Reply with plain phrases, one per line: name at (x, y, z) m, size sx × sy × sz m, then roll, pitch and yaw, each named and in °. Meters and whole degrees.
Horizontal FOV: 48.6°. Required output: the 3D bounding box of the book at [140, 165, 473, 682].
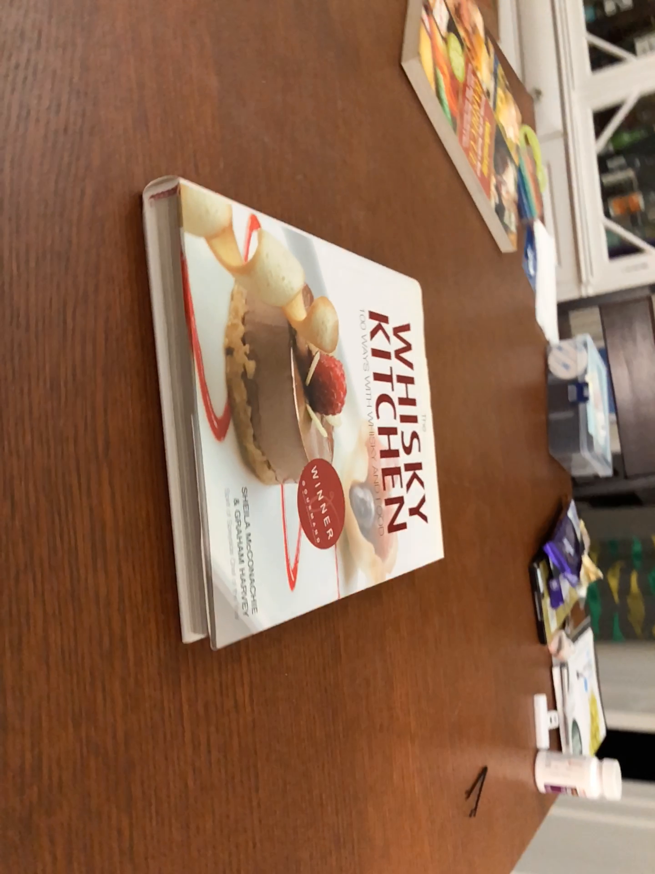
book at (0.011, -0.006, 0.433) m, size 0.271 × 0.040 × 0.220 m, roll 0°, pitch 84°, yaw -59°
